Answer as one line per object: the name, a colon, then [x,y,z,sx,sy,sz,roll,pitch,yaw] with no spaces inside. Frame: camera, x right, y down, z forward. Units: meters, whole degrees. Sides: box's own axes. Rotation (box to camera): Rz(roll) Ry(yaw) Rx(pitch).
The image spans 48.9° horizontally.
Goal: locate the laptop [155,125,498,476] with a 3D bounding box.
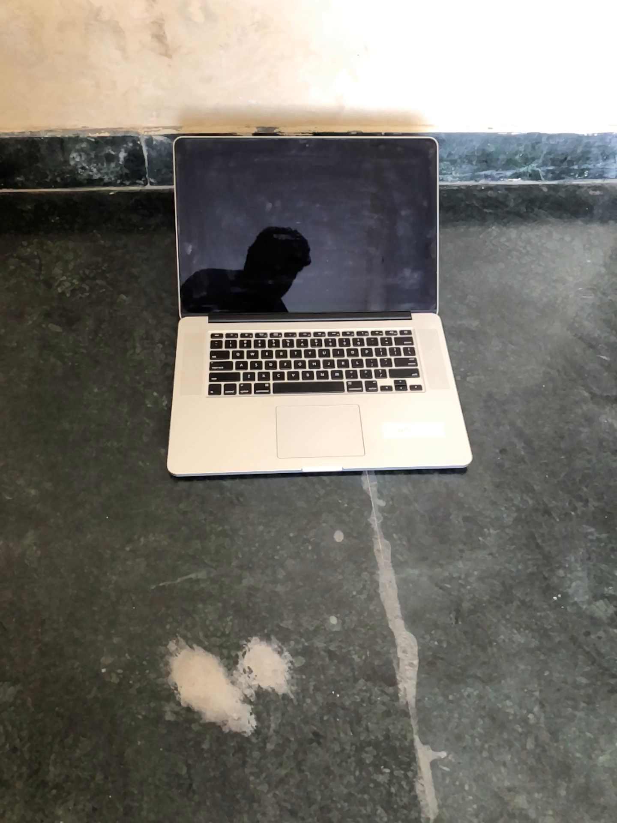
laptop: [0.008,-0.158,0.839,0.342,0.130,0.435,-1,58,-5]
